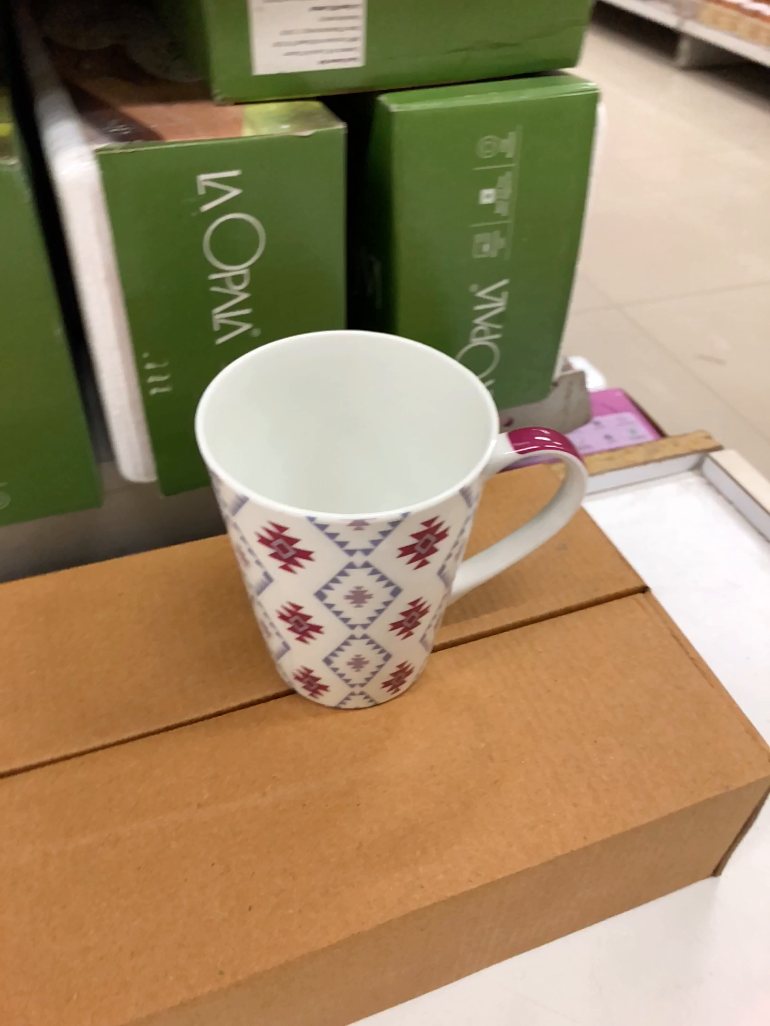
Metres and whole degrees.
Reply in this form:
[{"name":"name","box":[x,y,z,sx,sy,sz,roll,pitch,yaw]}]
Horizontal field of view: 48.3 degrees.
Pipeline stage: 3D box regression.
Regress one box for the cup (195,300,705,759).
[{"name":"cup","box":[0.010,0.003,0.261,0.120,0.099,0.080,-6,42,-9]}]
